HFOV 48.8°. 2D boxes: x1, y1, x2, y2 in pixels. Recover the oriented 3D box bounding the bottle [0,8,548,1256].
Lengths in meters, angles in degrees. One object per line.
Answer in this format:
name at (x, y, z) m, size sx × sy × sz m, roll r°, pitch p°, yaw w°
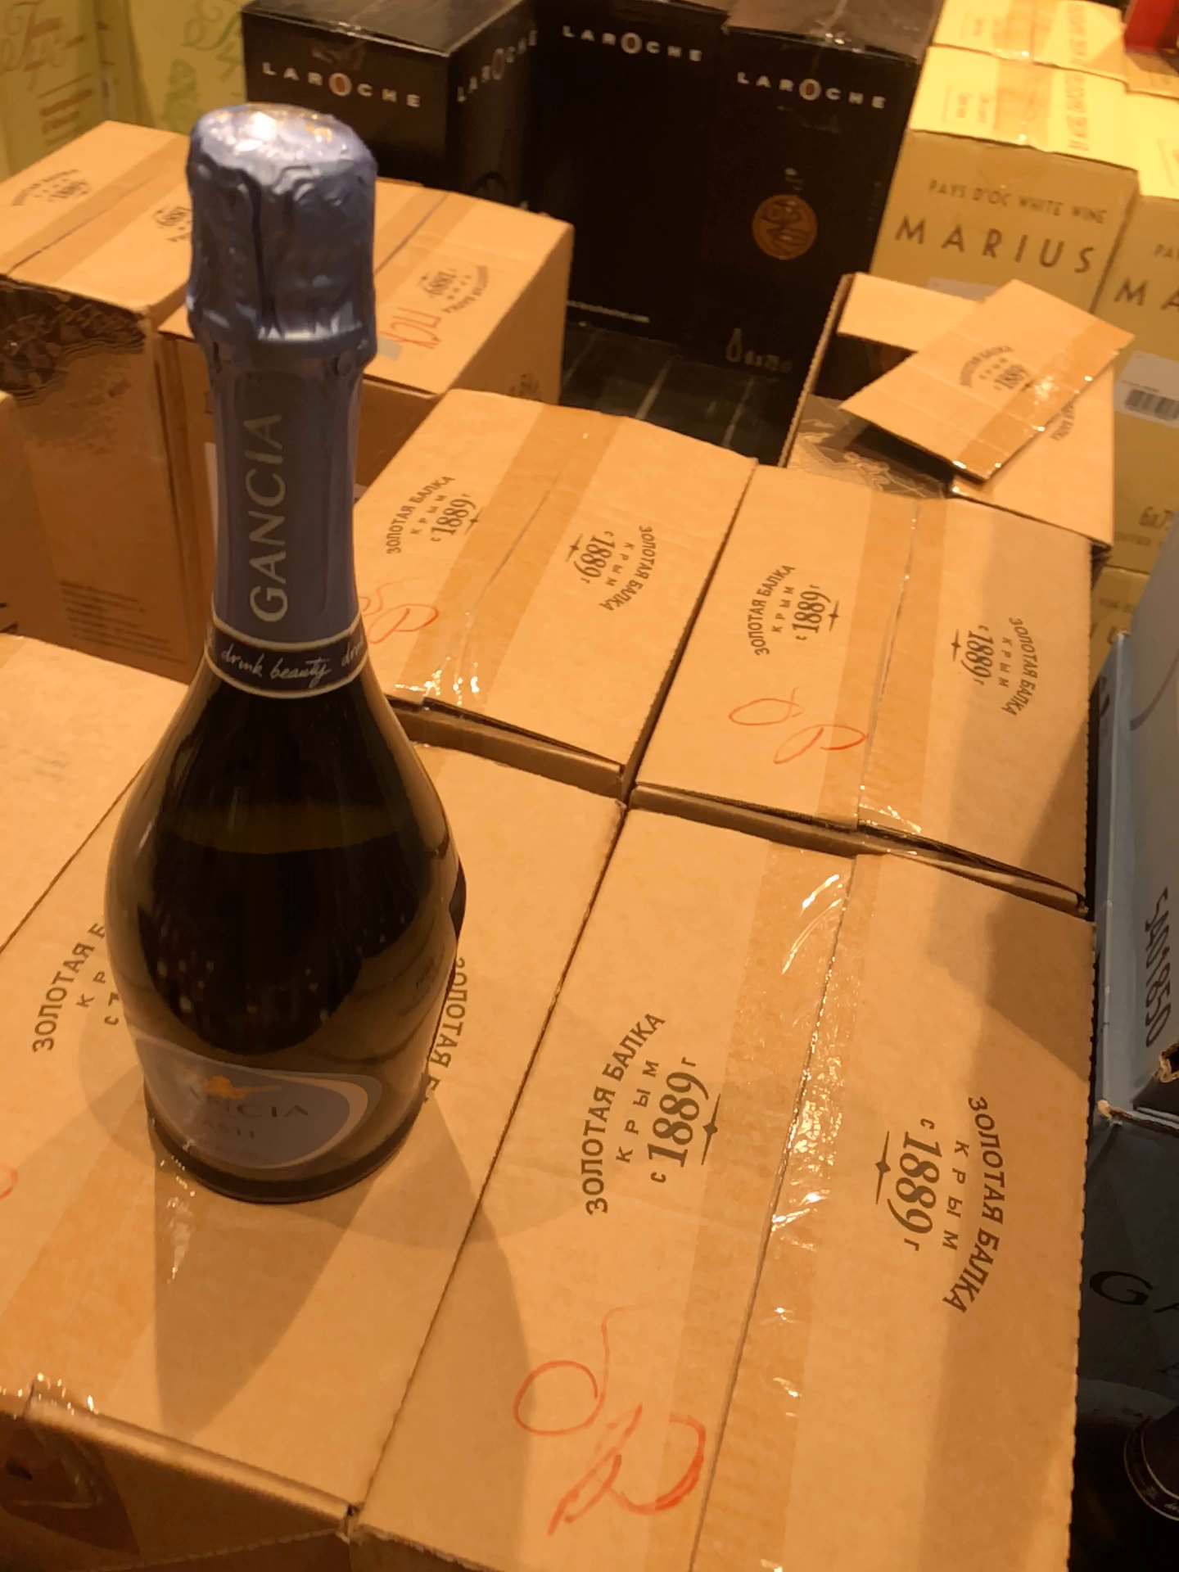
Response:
bottle at (-0.082, -0.007, 0.324) m, size 0.101 × 0.298 × 0.091 m, roll 13°, pitch 44°, yaw 5°
